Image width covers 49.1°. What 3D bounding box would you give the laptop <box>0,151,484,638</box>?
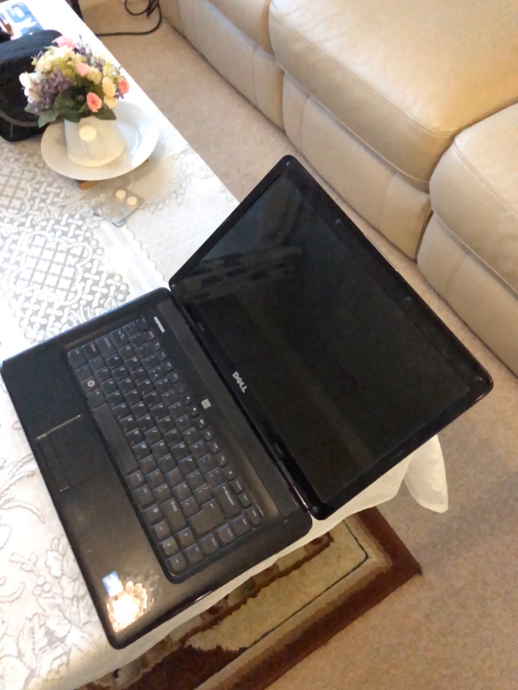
[{"bbox_3d":[-0.052,0.026,0.634,0.418,0.122,0.365,-29,64,-12],"label":"laptop"}]
